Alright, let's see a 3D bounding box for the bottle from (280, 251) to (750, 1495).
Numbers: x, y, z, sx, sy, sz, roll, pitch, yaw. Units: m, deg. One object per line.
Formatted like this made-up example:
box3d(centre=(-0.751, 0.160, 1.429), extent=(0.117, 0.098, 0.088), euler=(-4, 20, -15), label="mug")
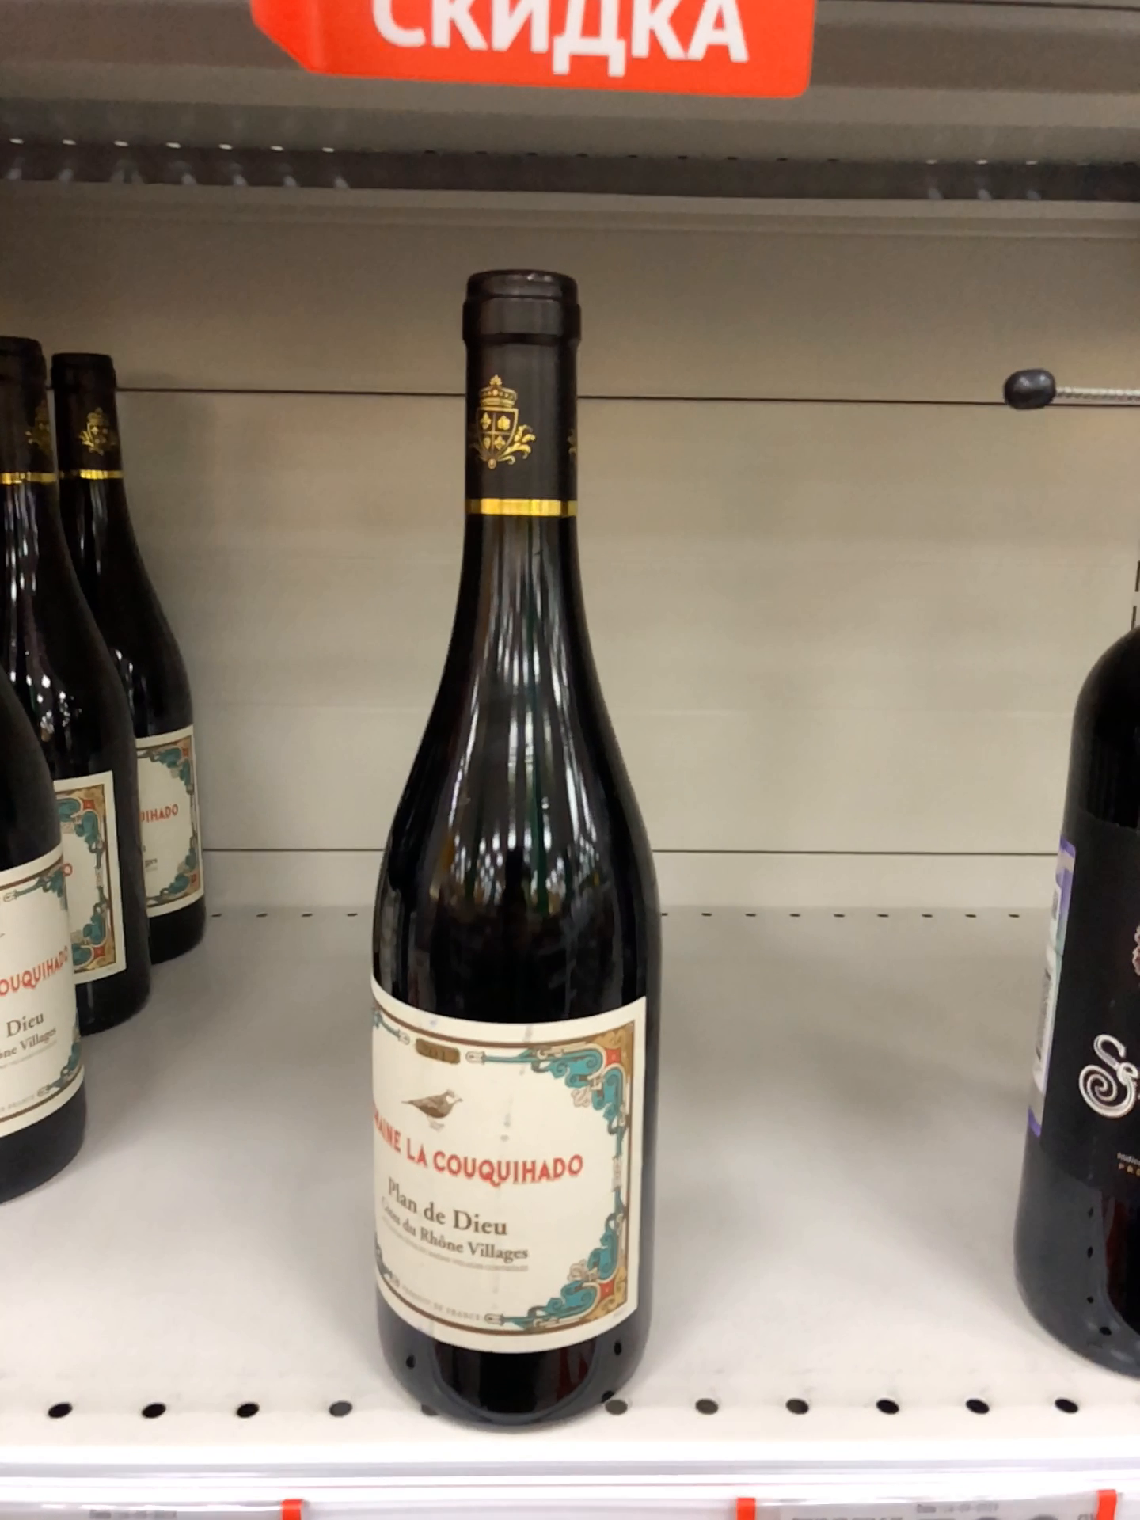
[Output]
box3d(centre=(-0.013, 0.029, 0.344), extent=(0.090, 0.302, 0.080), euler=(7, 14, 23), label="bottle")
